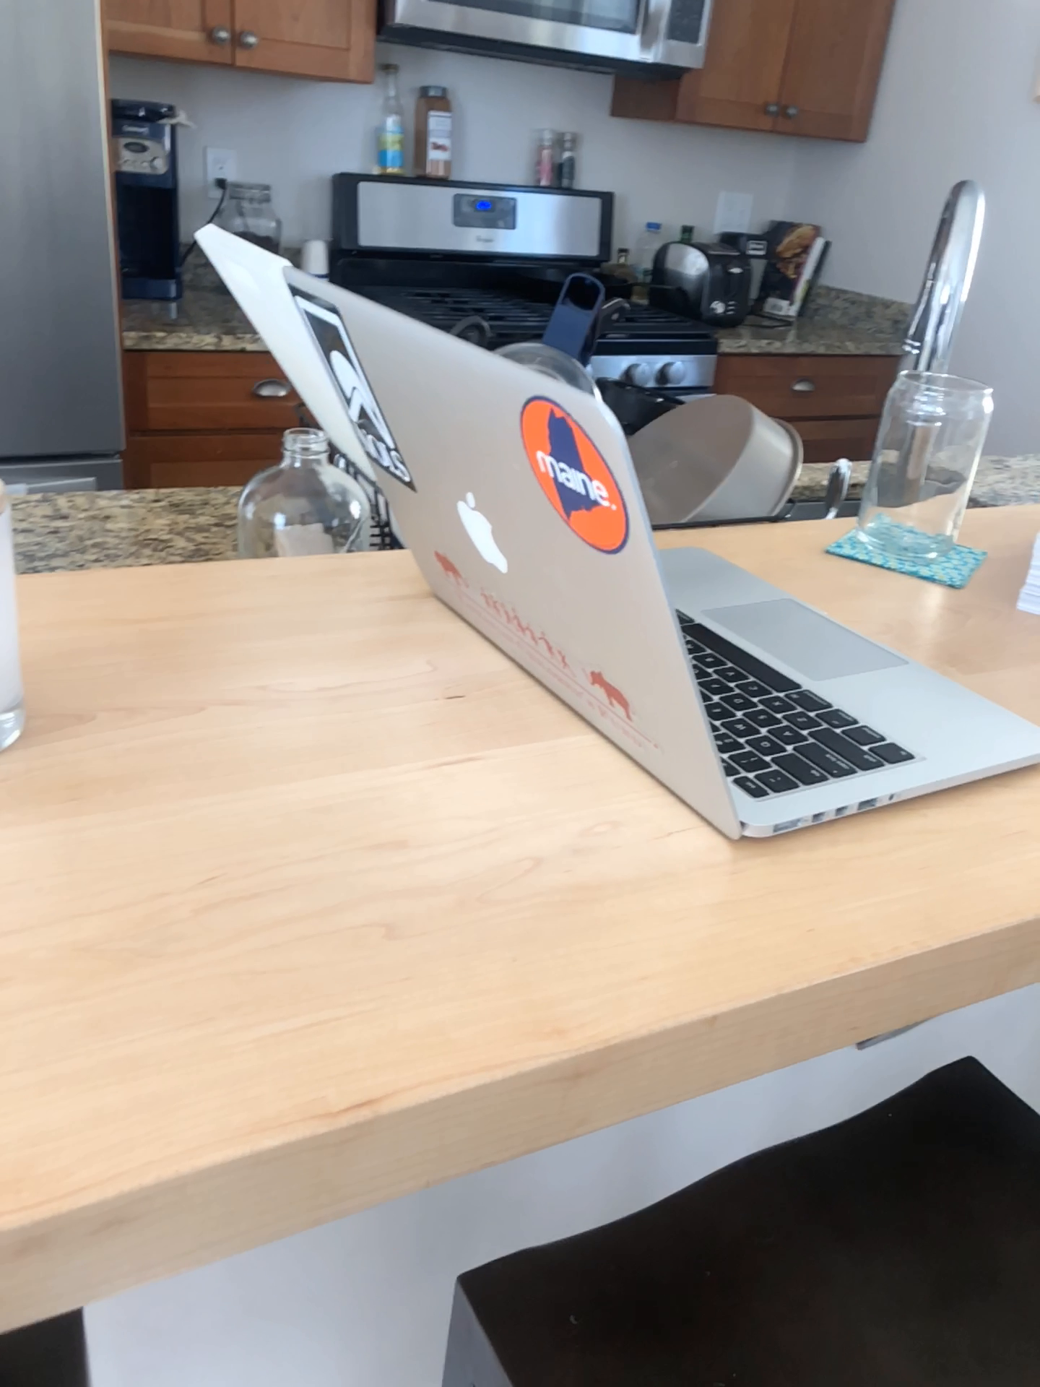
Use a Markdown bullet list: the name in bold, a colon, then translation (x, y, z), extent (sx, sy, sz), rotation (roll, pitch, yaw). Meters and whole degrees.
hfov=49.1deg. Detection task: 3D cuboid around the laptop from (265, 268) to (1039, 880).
- **laptop**: translation (0.073, -0.102, 0.619), extent (0.324, 0.188, 0.323), rotation (-10, 30, -29)
